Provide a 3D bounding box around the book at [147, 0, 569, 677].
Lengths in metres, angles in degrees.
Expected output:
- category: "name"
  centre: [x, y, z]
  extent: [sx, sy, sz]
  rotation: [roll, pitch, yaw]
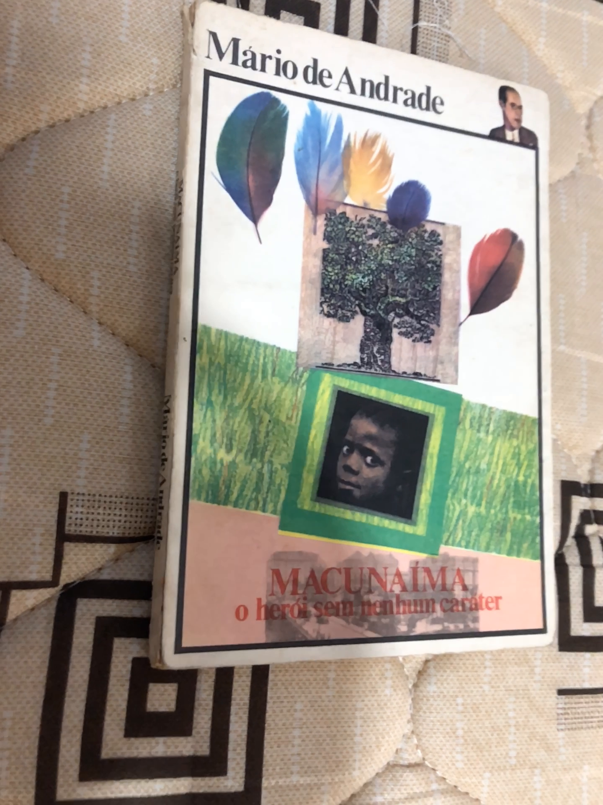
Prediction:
- category: "book"
  centre: [0.023, -0.019, 0.215]
  extent: [0.130, 0.020, 0.190]
  rotation: [4, 82, -20]
